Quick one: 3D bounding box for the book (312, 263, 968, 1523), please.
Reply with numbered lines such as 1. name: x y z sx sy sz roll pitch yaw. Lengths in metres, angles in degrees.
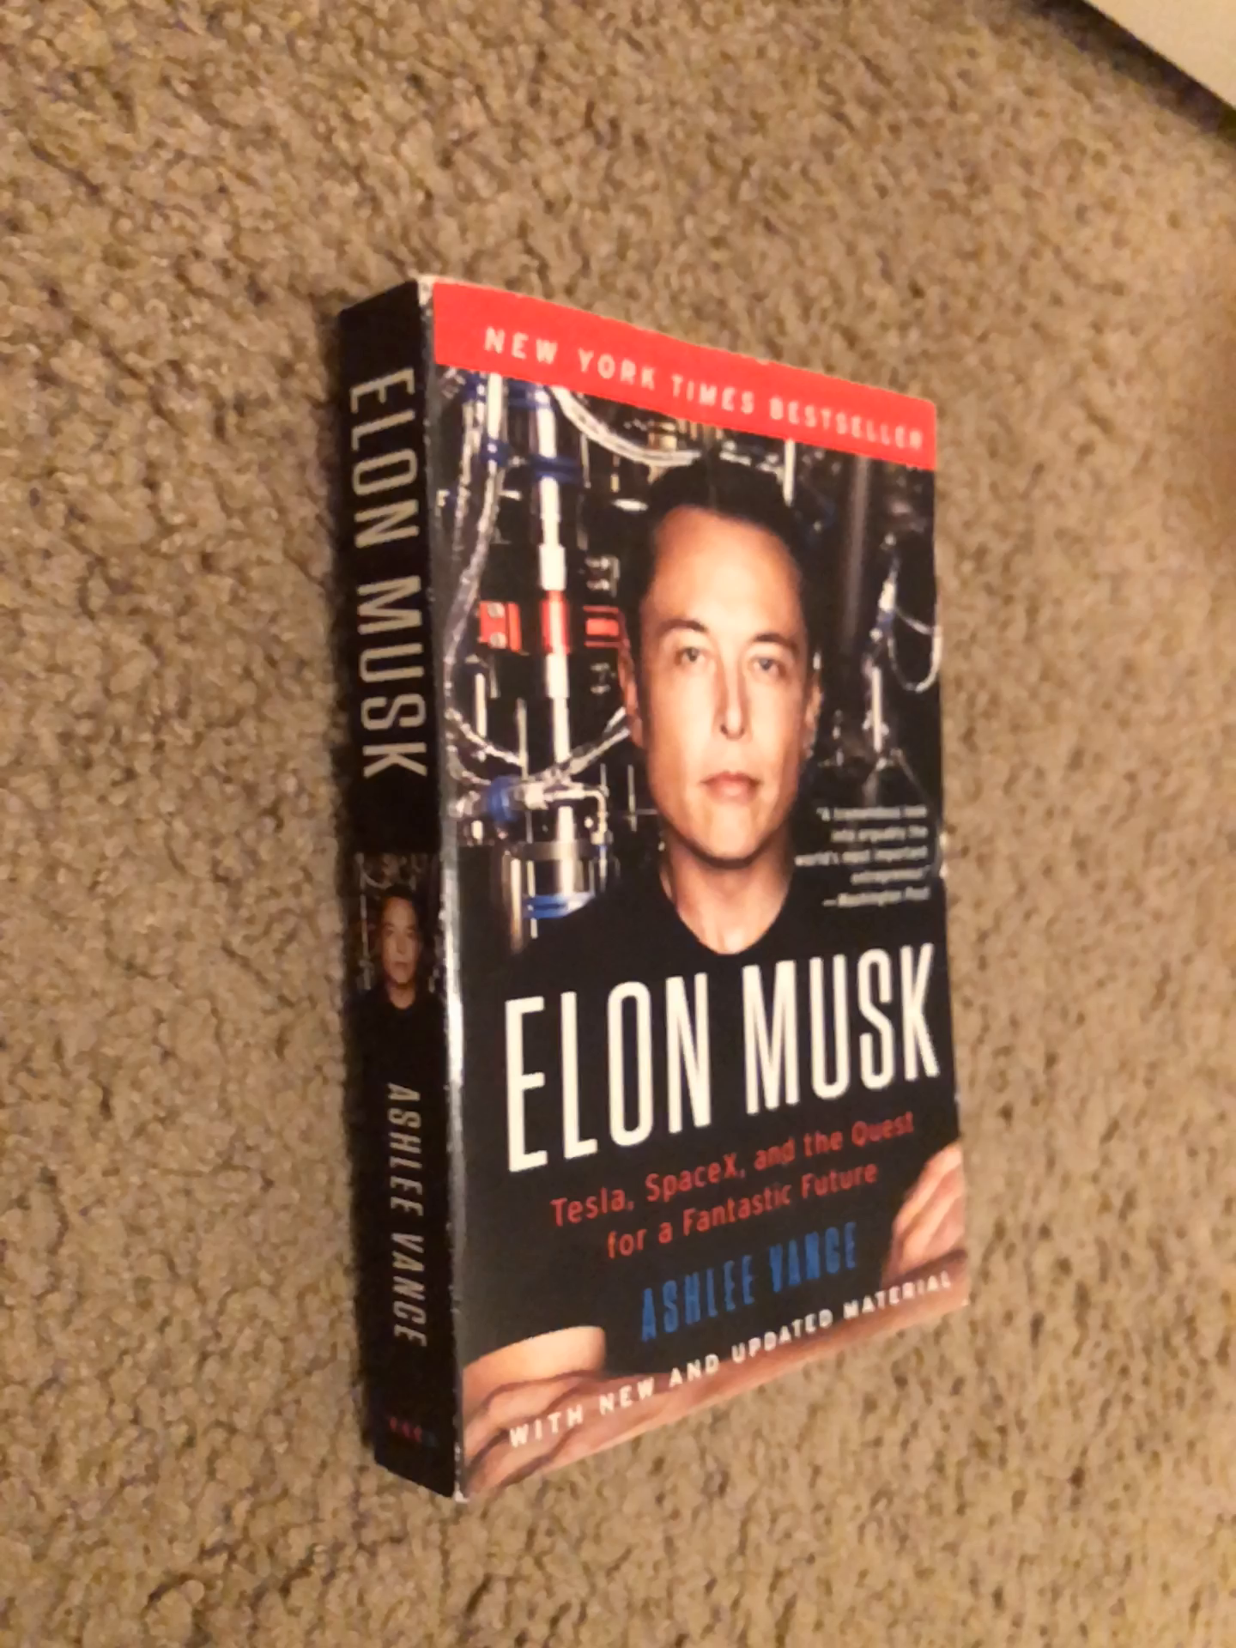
1. book: 0.012 0.010 0.279 0.137 0.033 0.202 -2 91 -39
